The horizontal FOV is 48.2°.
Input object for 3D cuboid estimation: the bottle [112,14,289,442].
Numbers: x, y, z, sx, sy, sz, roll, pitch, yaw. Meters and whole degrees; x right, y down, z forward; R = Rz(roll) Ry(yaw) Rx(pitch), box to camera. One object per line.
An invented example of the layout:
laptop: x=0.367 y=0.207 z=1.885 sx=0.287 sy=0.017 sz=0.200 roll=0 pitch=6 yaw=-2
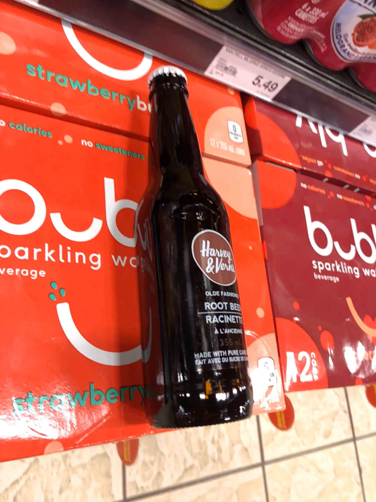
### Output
bottle: x=-0.001 y=-0.015 z=0.257 sx=0.060 sy=0.070 sz=0.230 roll=7 pitch=70 yaw=-34
